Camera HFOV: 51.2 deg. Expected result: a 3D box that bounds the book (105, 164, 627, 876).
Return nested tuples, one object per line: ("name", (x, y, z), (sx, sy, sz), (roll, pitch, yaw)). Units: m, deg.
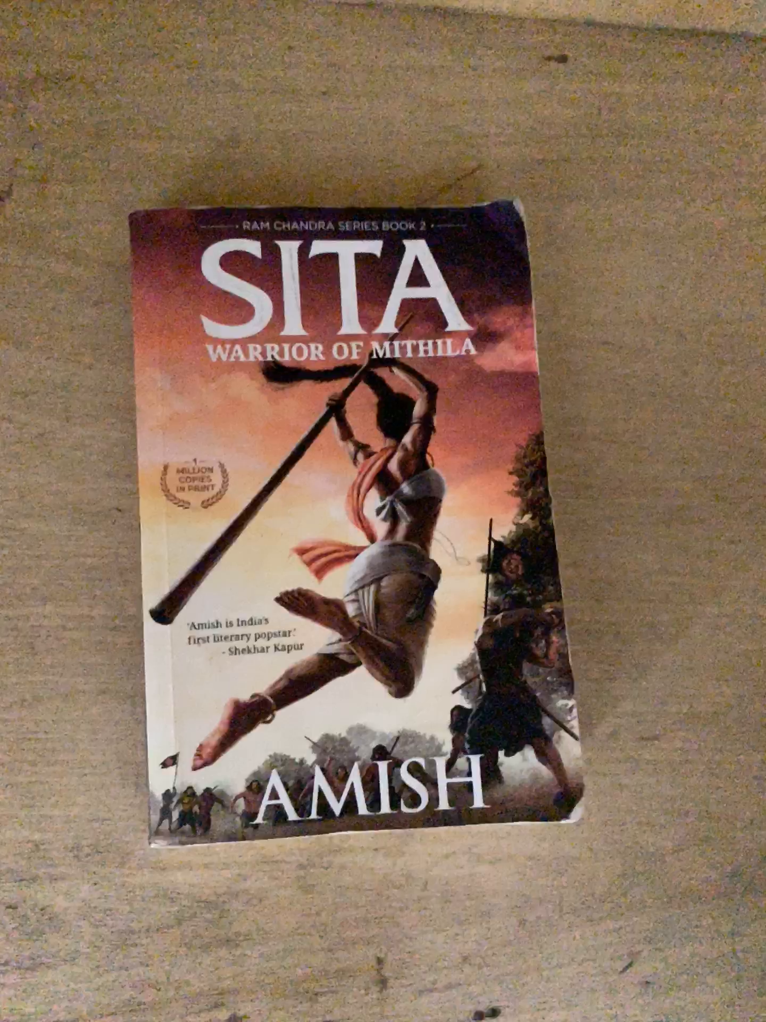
("book", (-0.008, -0.004, 0.246), (0.140, 0.030, 0.200), (-3, 84, -5))
